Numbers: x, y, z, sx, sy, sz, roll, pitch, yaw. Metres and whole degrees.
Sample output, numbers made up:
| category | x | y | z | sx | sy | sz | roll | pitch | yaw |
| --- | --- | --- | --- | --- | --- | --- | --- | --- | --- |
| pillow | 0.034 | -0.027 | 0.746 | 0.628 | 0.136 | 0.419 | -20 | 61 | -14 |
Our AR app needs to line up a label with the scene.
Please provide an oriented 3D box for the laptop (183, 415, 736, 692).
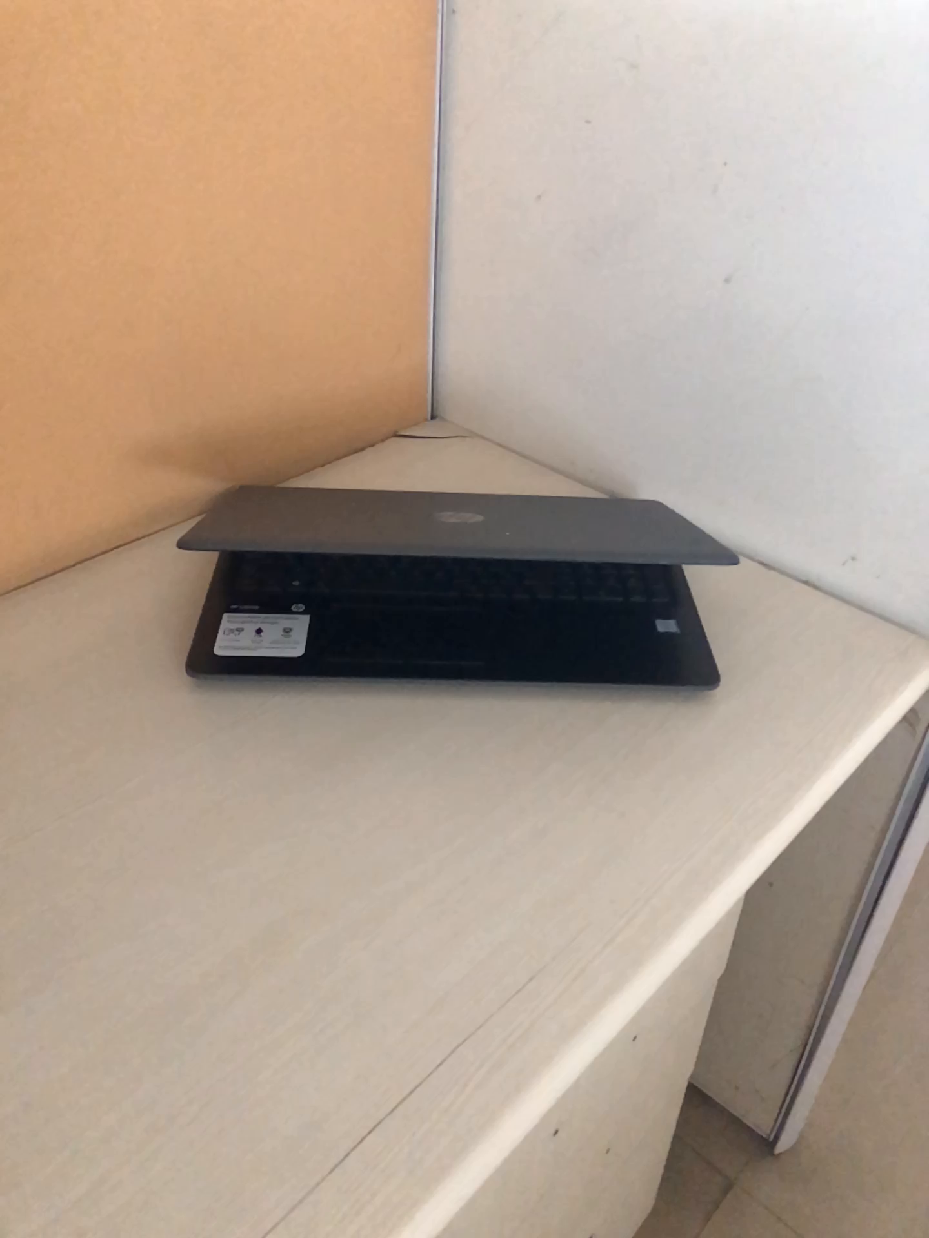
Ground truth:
| category | x | y | z | sx | sy | sz | roll | pitch | yaw |
| --- | --- | --- | --- | --- | --- | --- | --- | --- | --- |
| laptop | -0.007 | -0.059 | 0.779 | 0.361 | 0.074 | 0.239 | 1 | 38 | -2 |
